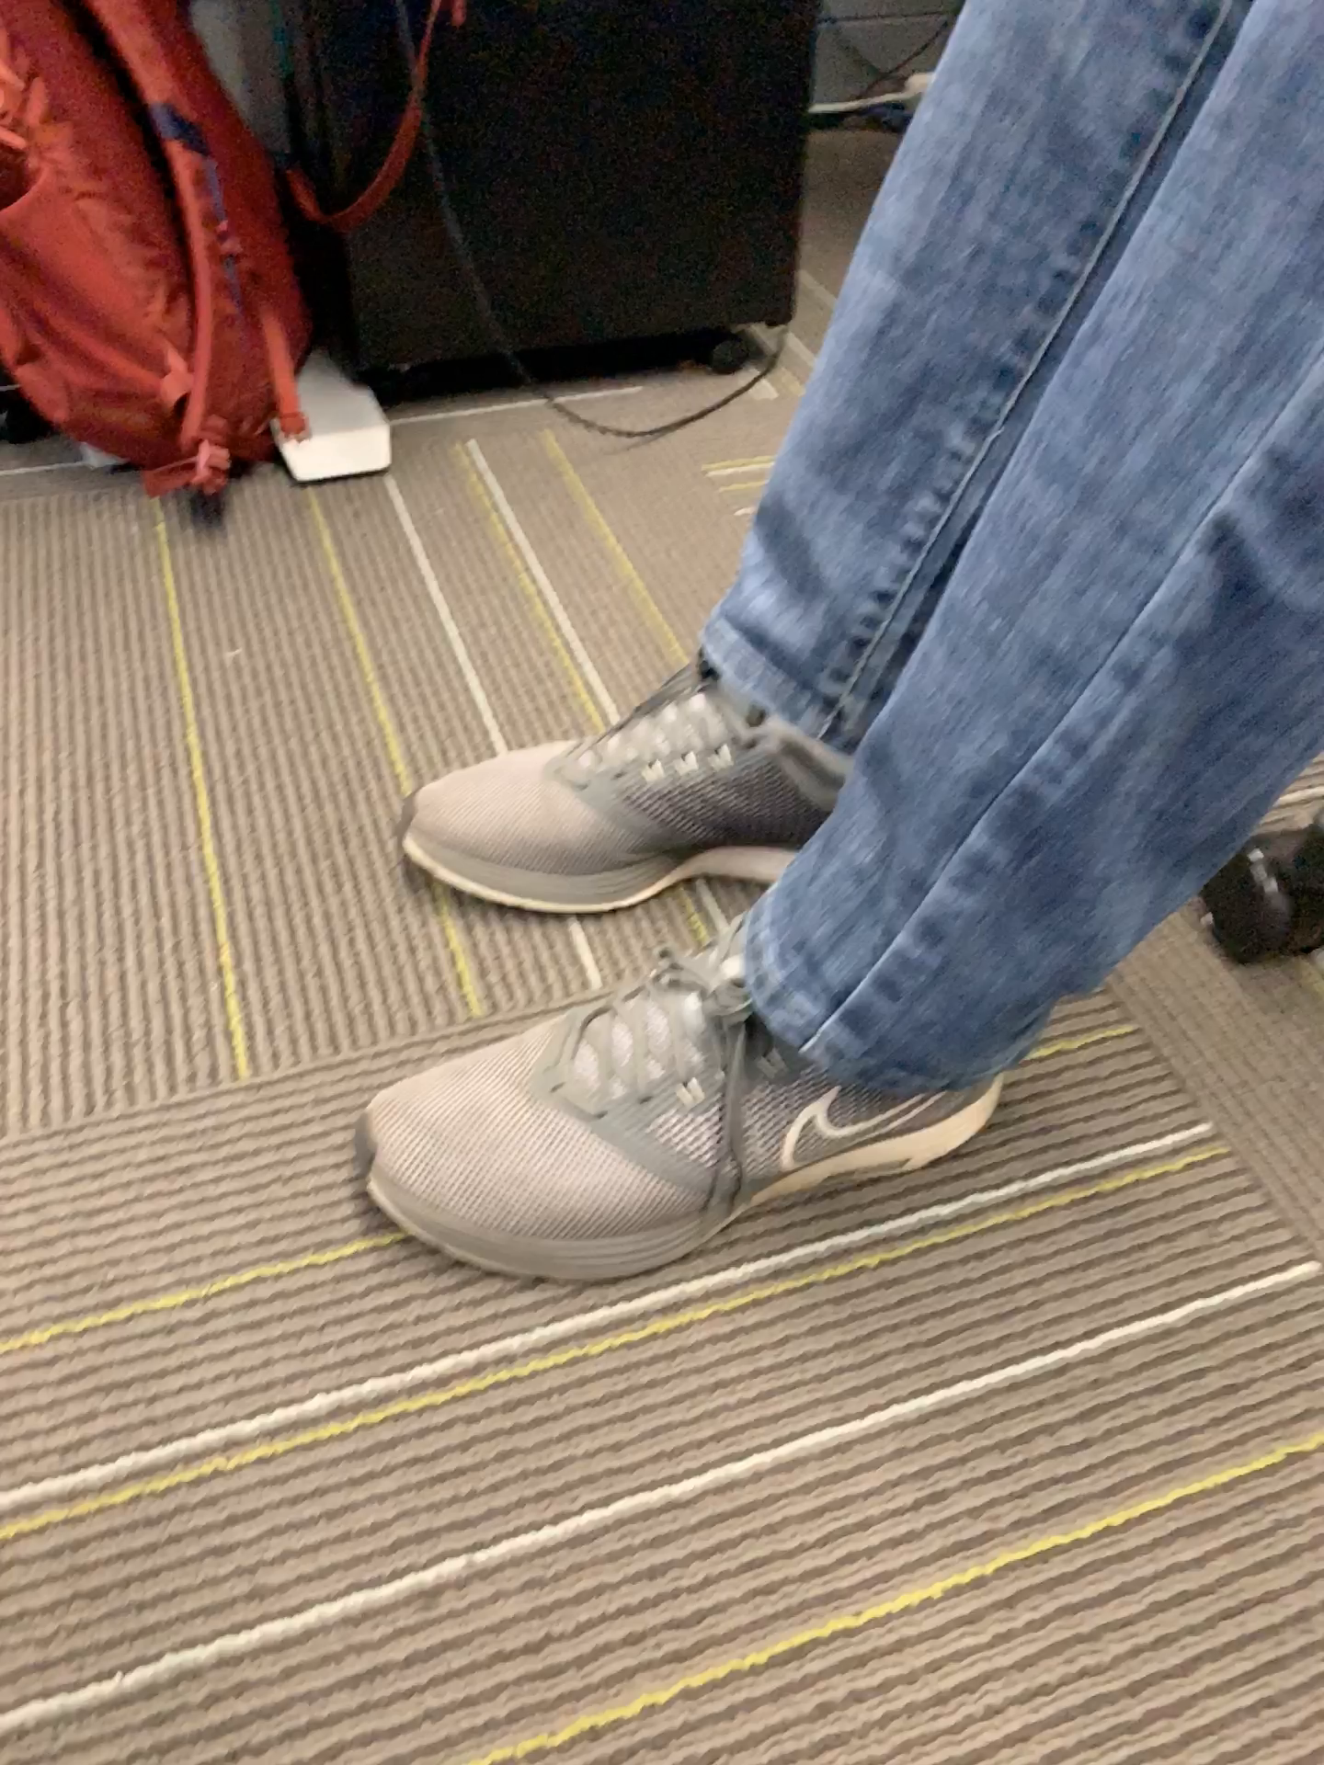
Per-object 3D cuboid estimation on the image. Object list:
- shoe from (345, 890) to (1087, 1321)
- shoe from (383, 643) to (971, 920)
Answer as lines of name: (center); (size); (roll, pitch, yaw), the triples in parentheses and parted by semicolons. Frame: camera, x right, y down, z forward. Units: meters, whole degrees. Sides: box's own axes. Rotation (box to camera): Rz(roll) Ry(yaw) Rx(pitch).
shoe: (0.015, 0.090, 0.586); (0.286, 0.078, 0.125); (-7, 44, -8)
shoe: (0.005, -0.057, 0.727); (0.283, 0.078, 0.133); (-1, 43, -2)
